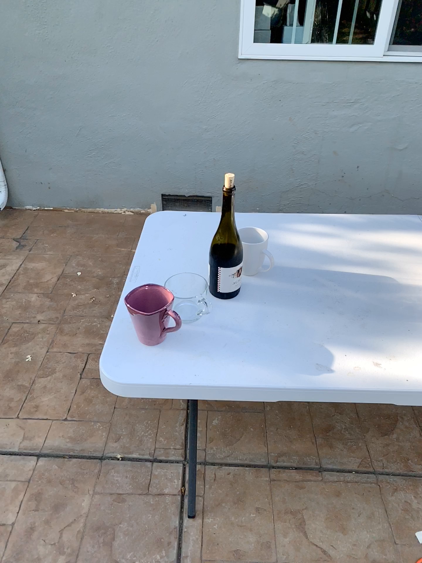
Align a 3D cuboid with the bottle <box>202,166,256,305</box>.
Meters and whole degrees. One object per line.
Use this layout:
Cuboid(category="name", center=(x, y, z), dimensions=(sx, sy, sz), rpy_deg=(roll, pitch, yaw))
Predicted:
Cuboid(category="bottle", center=(0.038, -0.102, 1.018), dimensions=(0.090, 0.308, 0.080), rpy_deg=(17, 38, 21))
